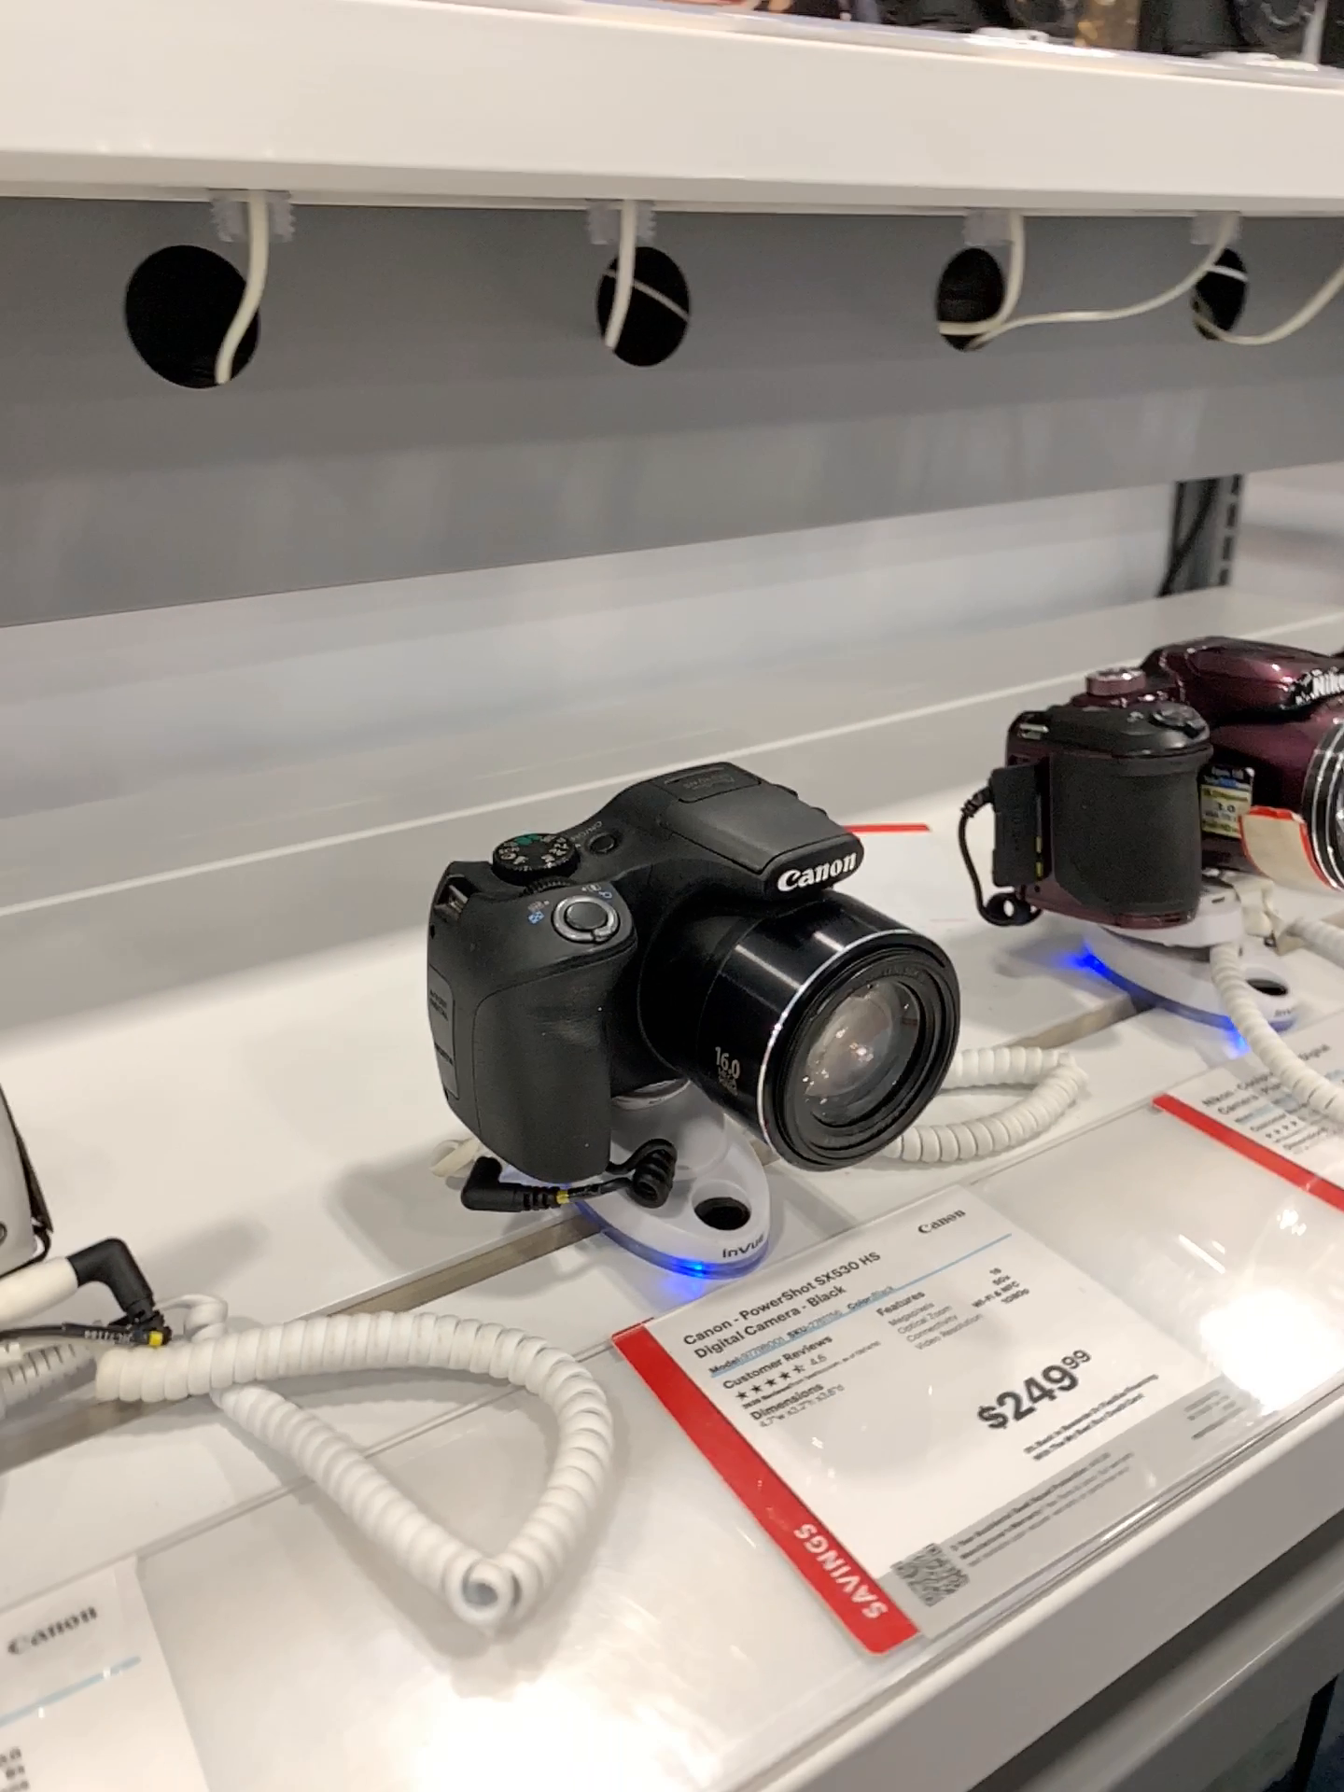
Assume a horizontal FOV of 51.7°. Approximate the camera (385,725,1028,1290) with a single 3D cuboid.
[{"bbox_3d":[0.007,0.018,0.351,0.120,0.080,0.100,-15,27,-29],"label":"camera"}]
